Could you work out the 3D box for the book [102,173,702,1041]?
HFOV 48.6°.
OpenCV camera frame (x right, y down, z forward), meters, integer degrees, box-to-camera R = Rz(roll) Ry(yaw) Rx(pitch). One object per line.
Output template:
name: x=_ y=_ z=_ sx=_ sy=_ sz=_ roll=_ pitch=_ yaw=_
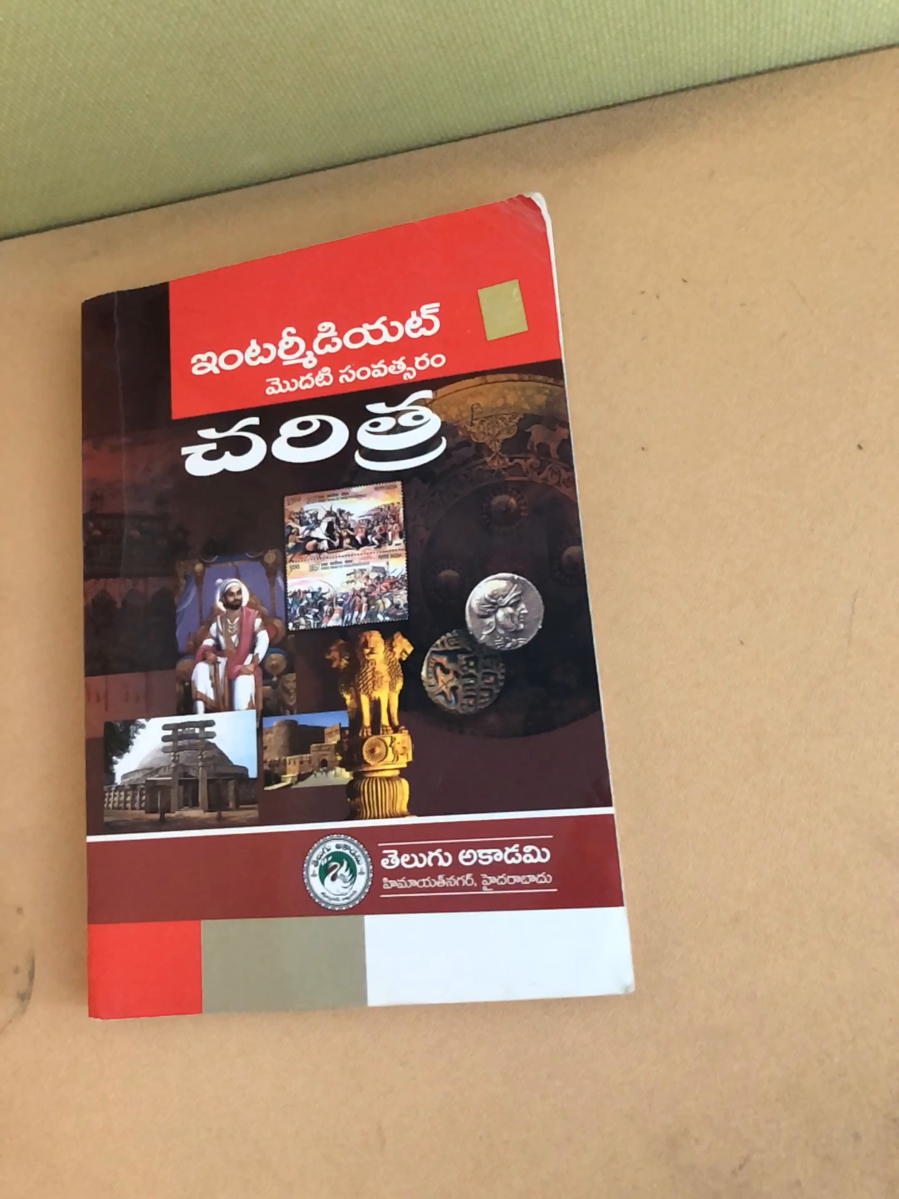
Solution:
book: x=-0.028 y=0.003 z=0.369 sx=0.200 sy=0.030 sz=0.290 roll=-7 pitch=79 yaw=13
